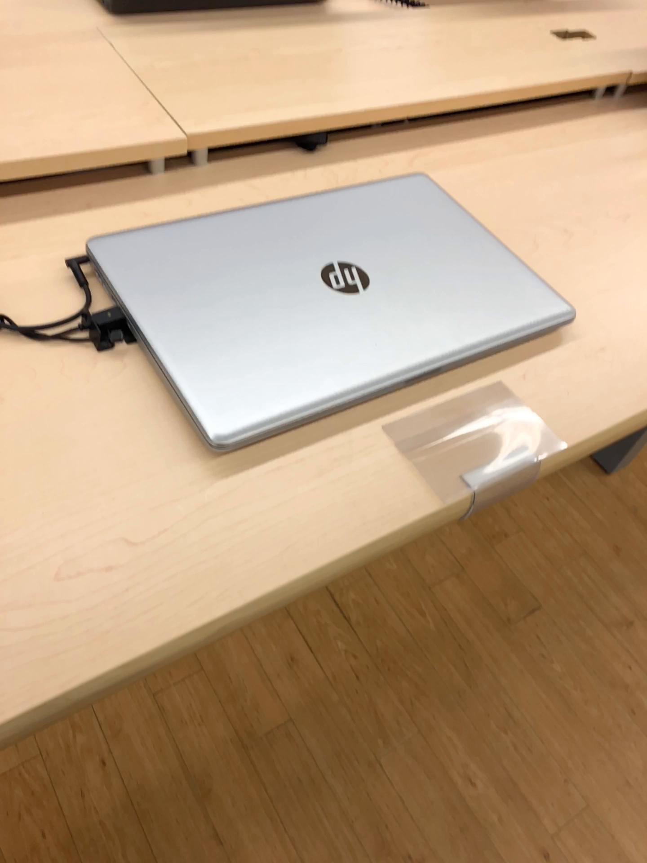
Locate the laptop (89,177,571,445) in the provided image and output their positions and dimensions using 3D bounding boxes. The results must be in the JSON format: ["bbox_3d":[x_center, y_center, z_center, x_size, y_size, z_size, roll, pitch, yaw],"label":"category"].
[{"bbox_3d":[0.017,-0.145,0.687,0.398,0.001,0.258,-21,58,-27],"label":"laptop"}]
